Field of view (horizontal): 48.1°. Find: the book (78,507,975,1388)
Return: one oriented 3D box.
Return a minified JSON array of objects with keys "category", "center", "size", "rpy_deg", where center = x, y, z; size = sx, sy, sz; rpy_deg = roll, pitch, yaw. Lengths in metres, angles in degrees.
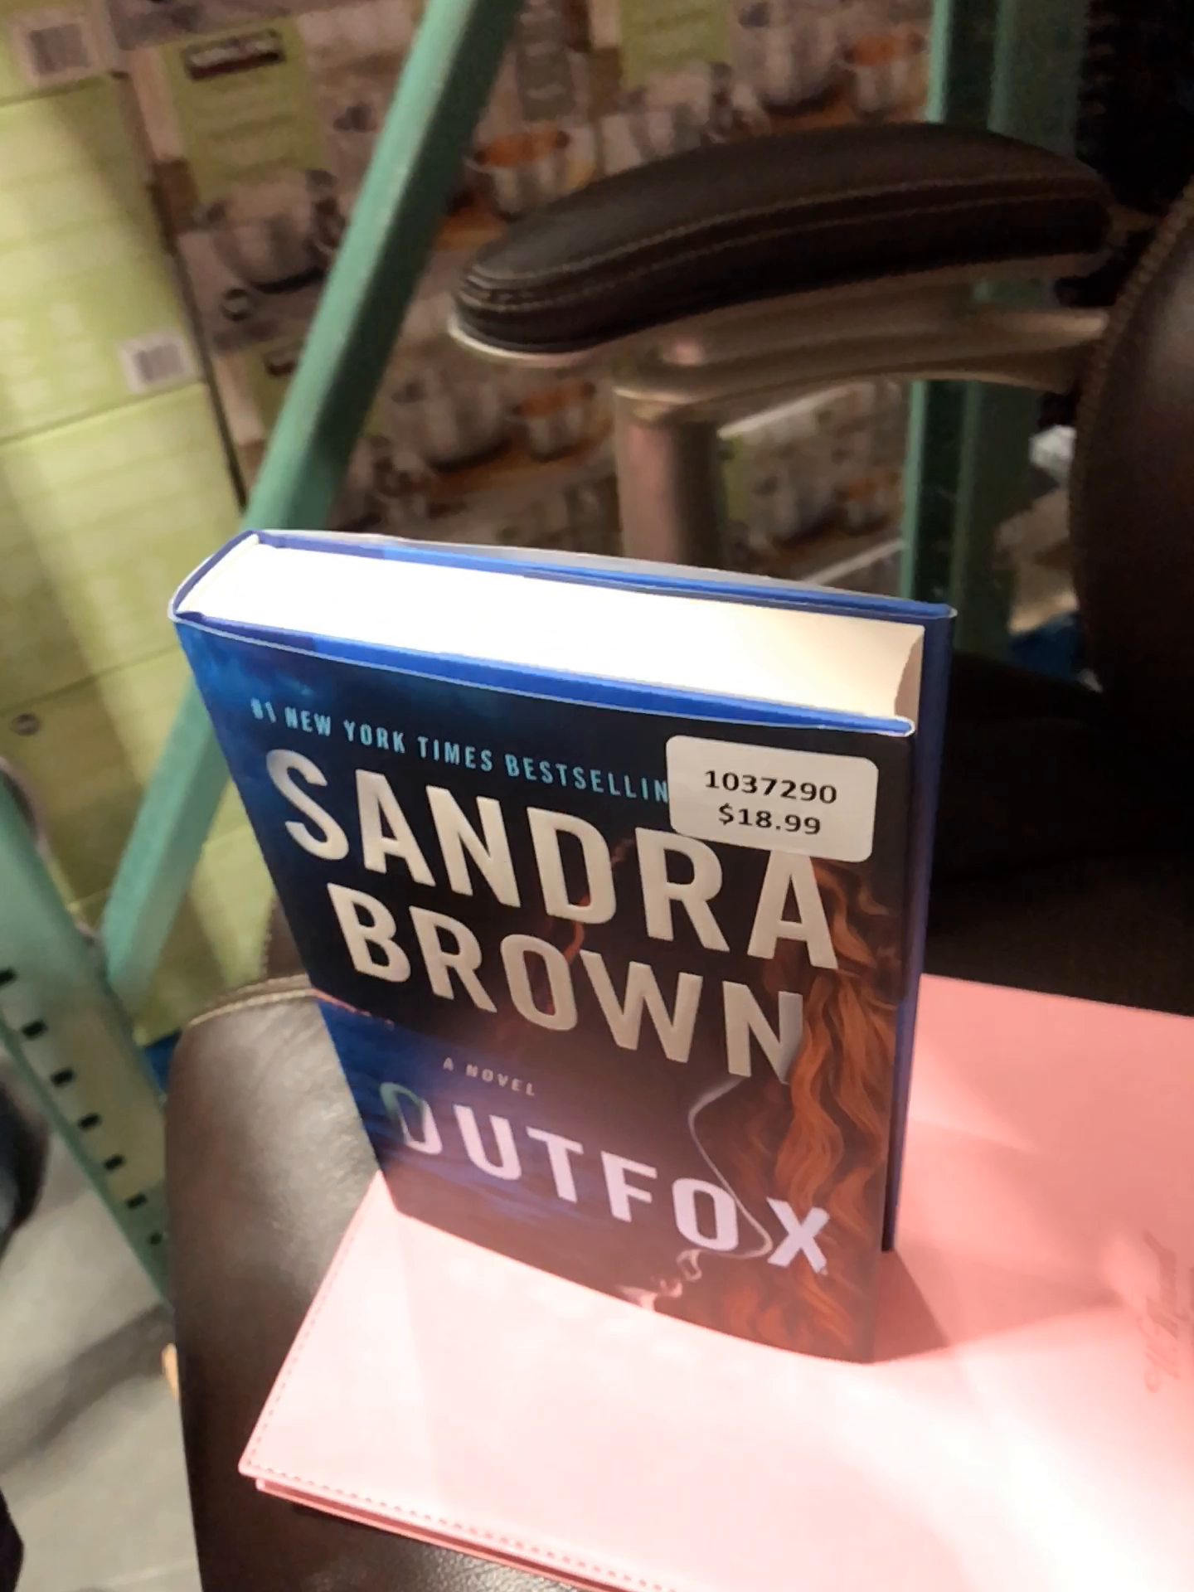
[{"category":"book","center":[-0.005,0.049,0.332],"size":[0.167,0.227,0.048],"rpy_deg":[11,46,20]}]
